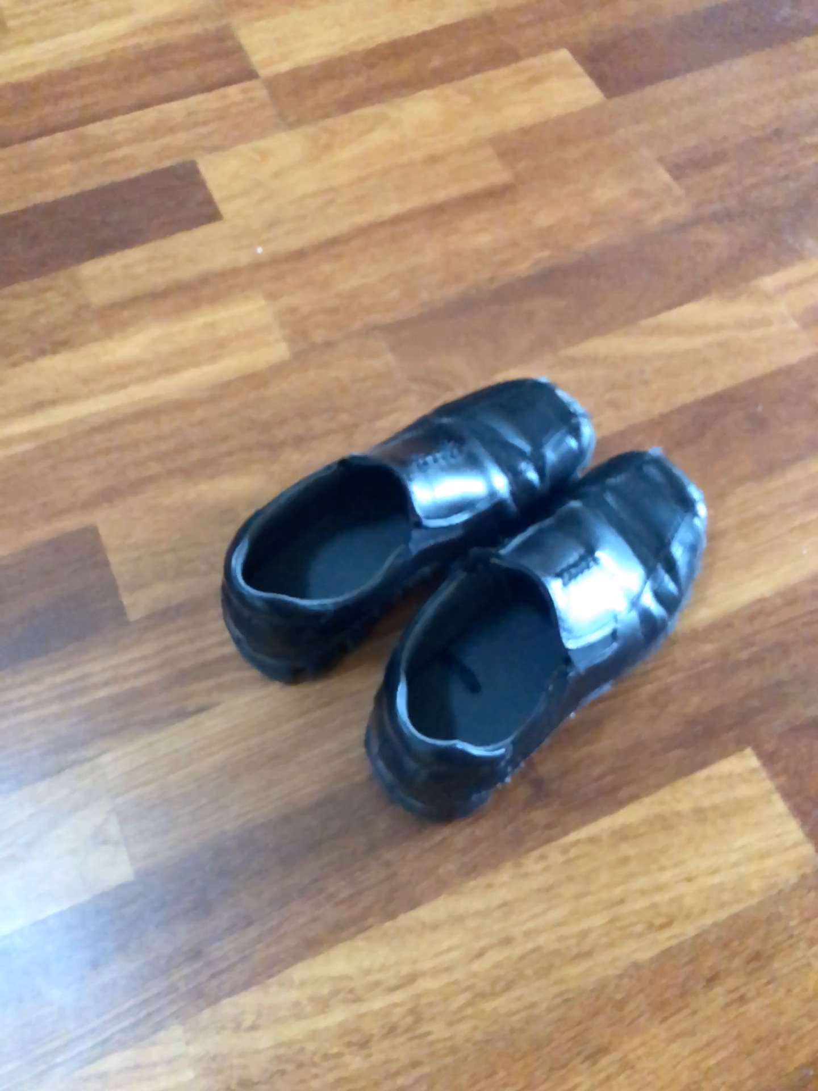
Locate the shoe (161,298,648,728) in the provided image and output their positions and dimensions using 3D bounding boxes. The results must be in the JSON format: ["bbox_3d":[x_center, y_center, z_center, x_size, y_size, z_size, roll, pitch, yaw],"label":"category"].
[{"bbox_3d":[0.002,-0.021,0.479,0.233,0.075,0.091,-36,68,-17],"label":"shoe"}]

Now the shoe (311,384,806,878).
[{"bbox_3d":[0.074,0.037,0.448,0.233,0.075,0.094,-41,70,-19],"label":"shoe"}]
